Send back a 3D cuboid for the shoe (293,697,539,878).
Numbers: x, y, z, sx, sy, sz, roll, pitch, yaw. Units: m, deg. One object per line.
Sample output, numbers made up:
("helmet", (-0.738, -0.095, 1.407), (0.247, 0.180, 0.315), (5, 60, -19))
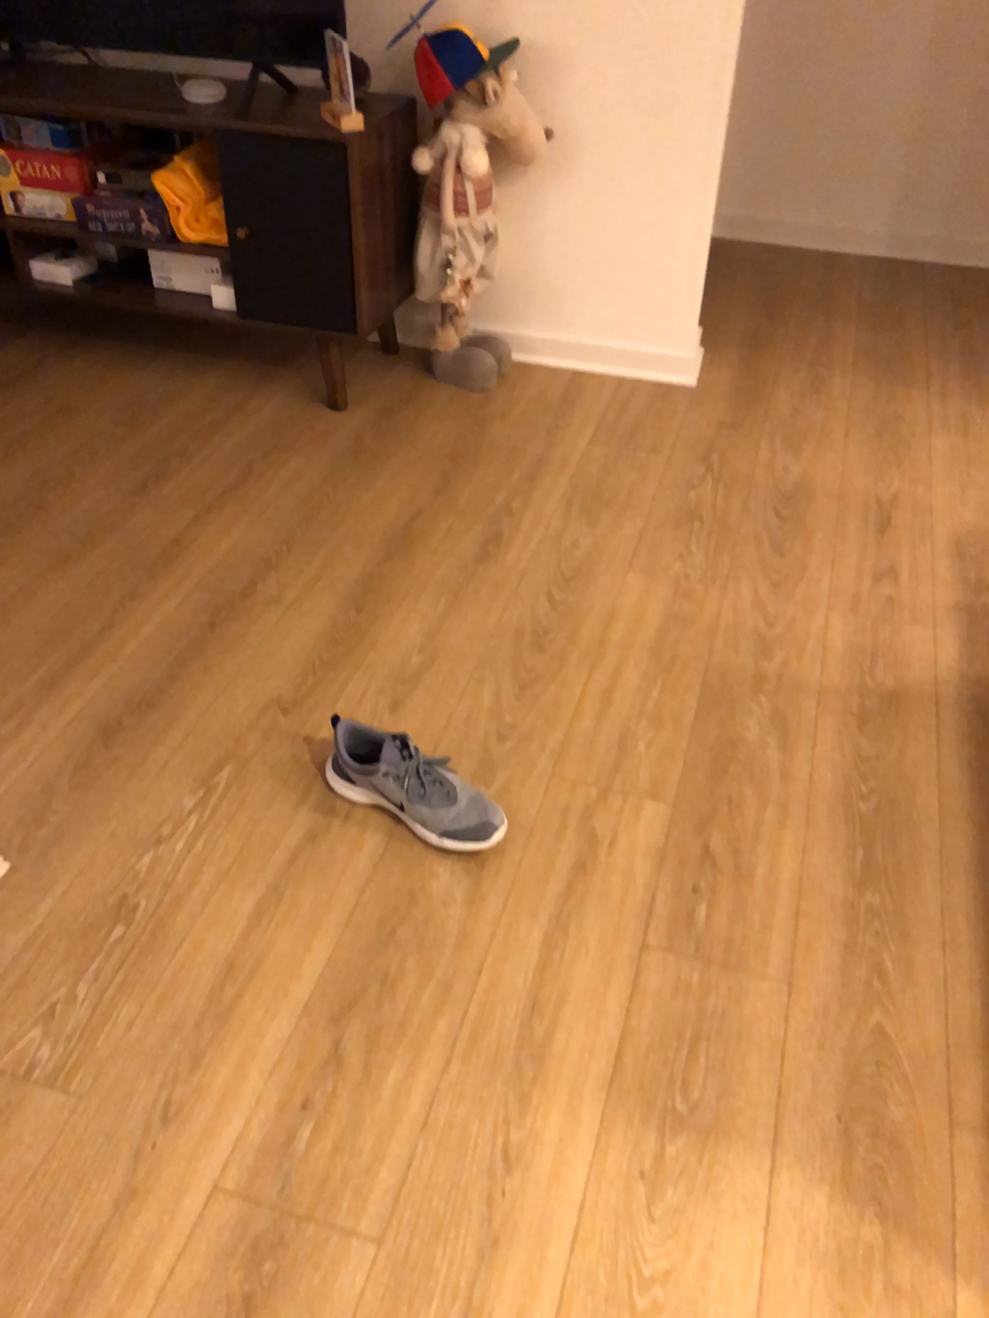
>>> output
("shoe", (-0.113, 0.177, 1.553), (0.320, 0.080, 0.141), (20, 42, 22))
